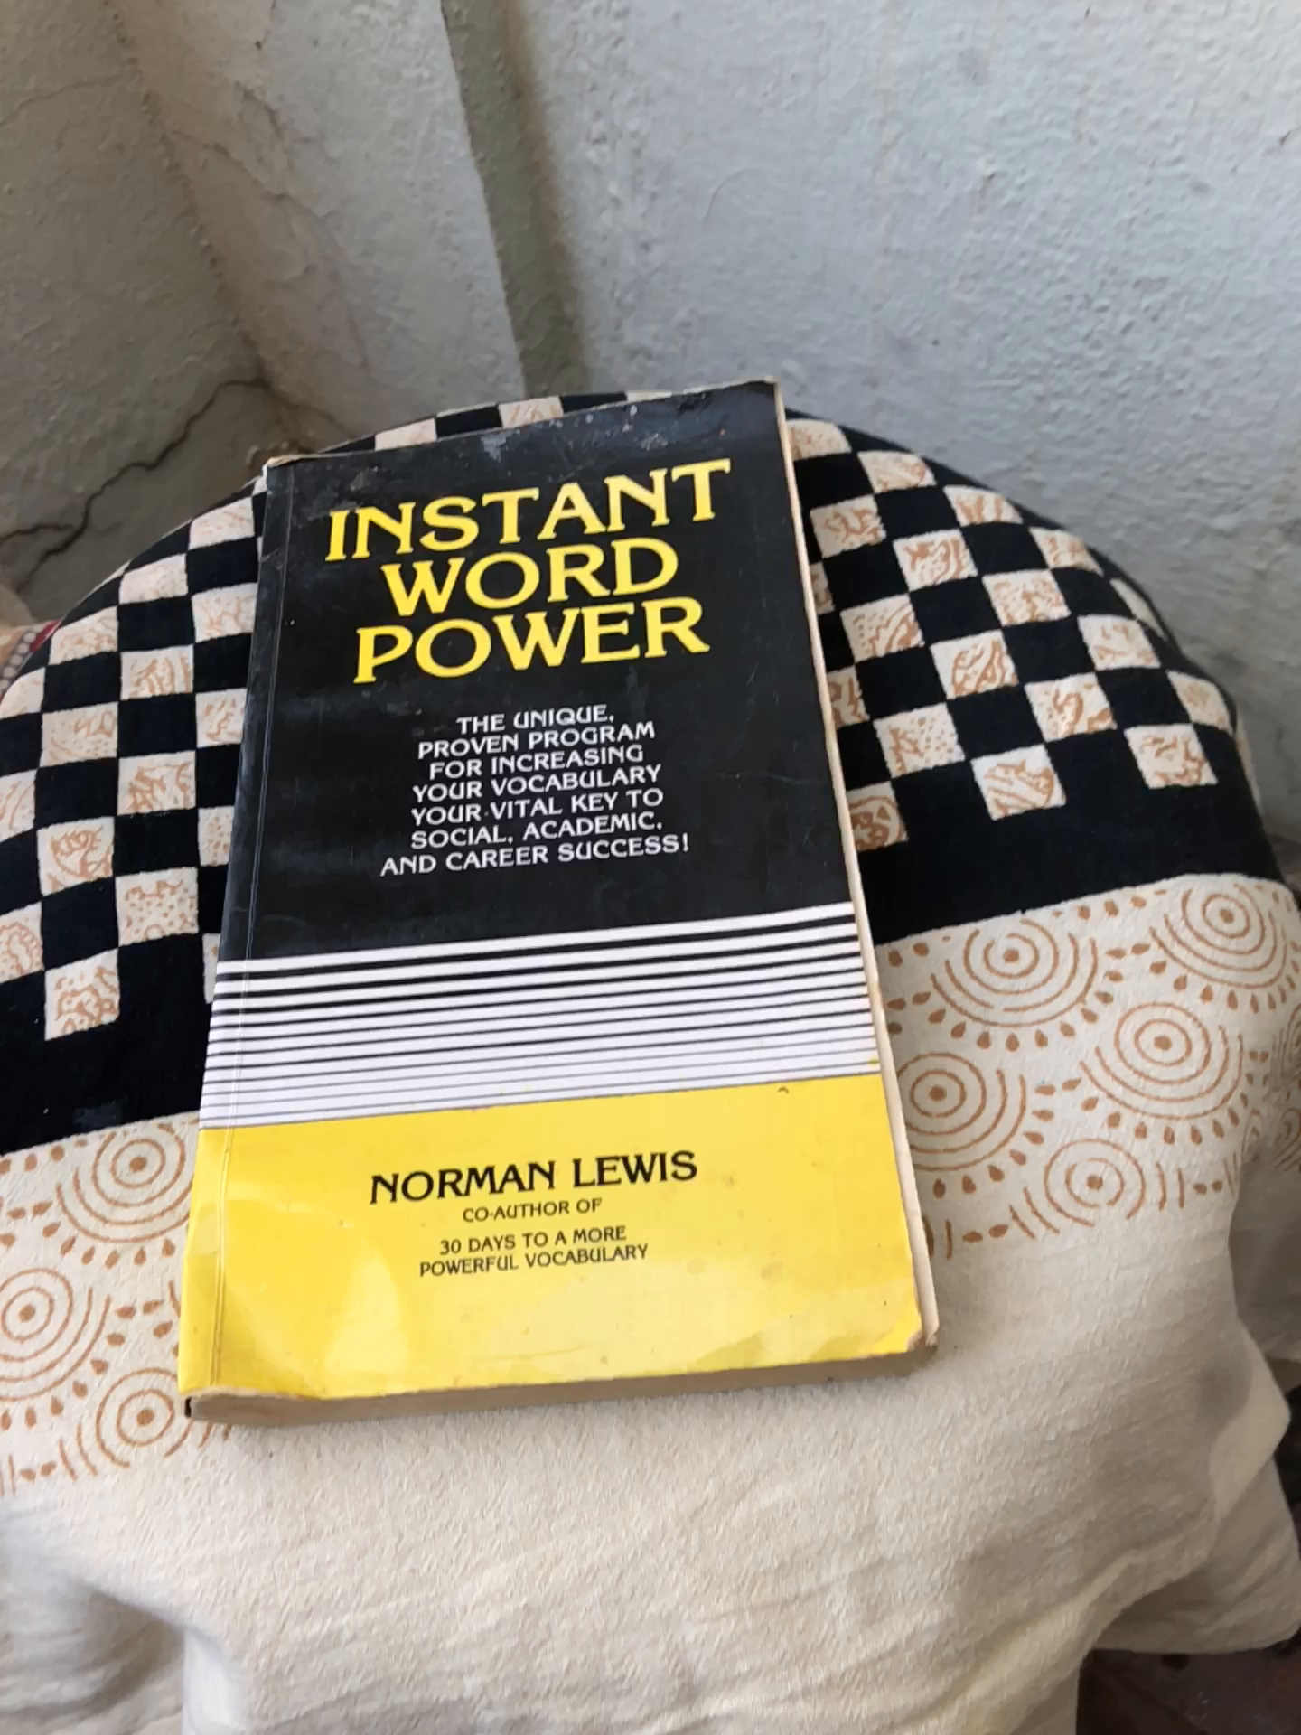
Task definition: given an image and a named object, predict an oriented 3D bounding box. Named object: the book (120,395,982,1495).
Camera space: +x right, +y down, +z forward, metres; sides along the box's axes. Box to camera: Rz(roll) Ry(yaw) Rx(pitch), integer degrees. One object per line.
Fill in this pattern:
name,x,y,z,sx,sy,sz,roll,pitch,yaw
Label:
book,-0.028,-0.009,0.377,0.160,0.040,0.301,-7,51,2
